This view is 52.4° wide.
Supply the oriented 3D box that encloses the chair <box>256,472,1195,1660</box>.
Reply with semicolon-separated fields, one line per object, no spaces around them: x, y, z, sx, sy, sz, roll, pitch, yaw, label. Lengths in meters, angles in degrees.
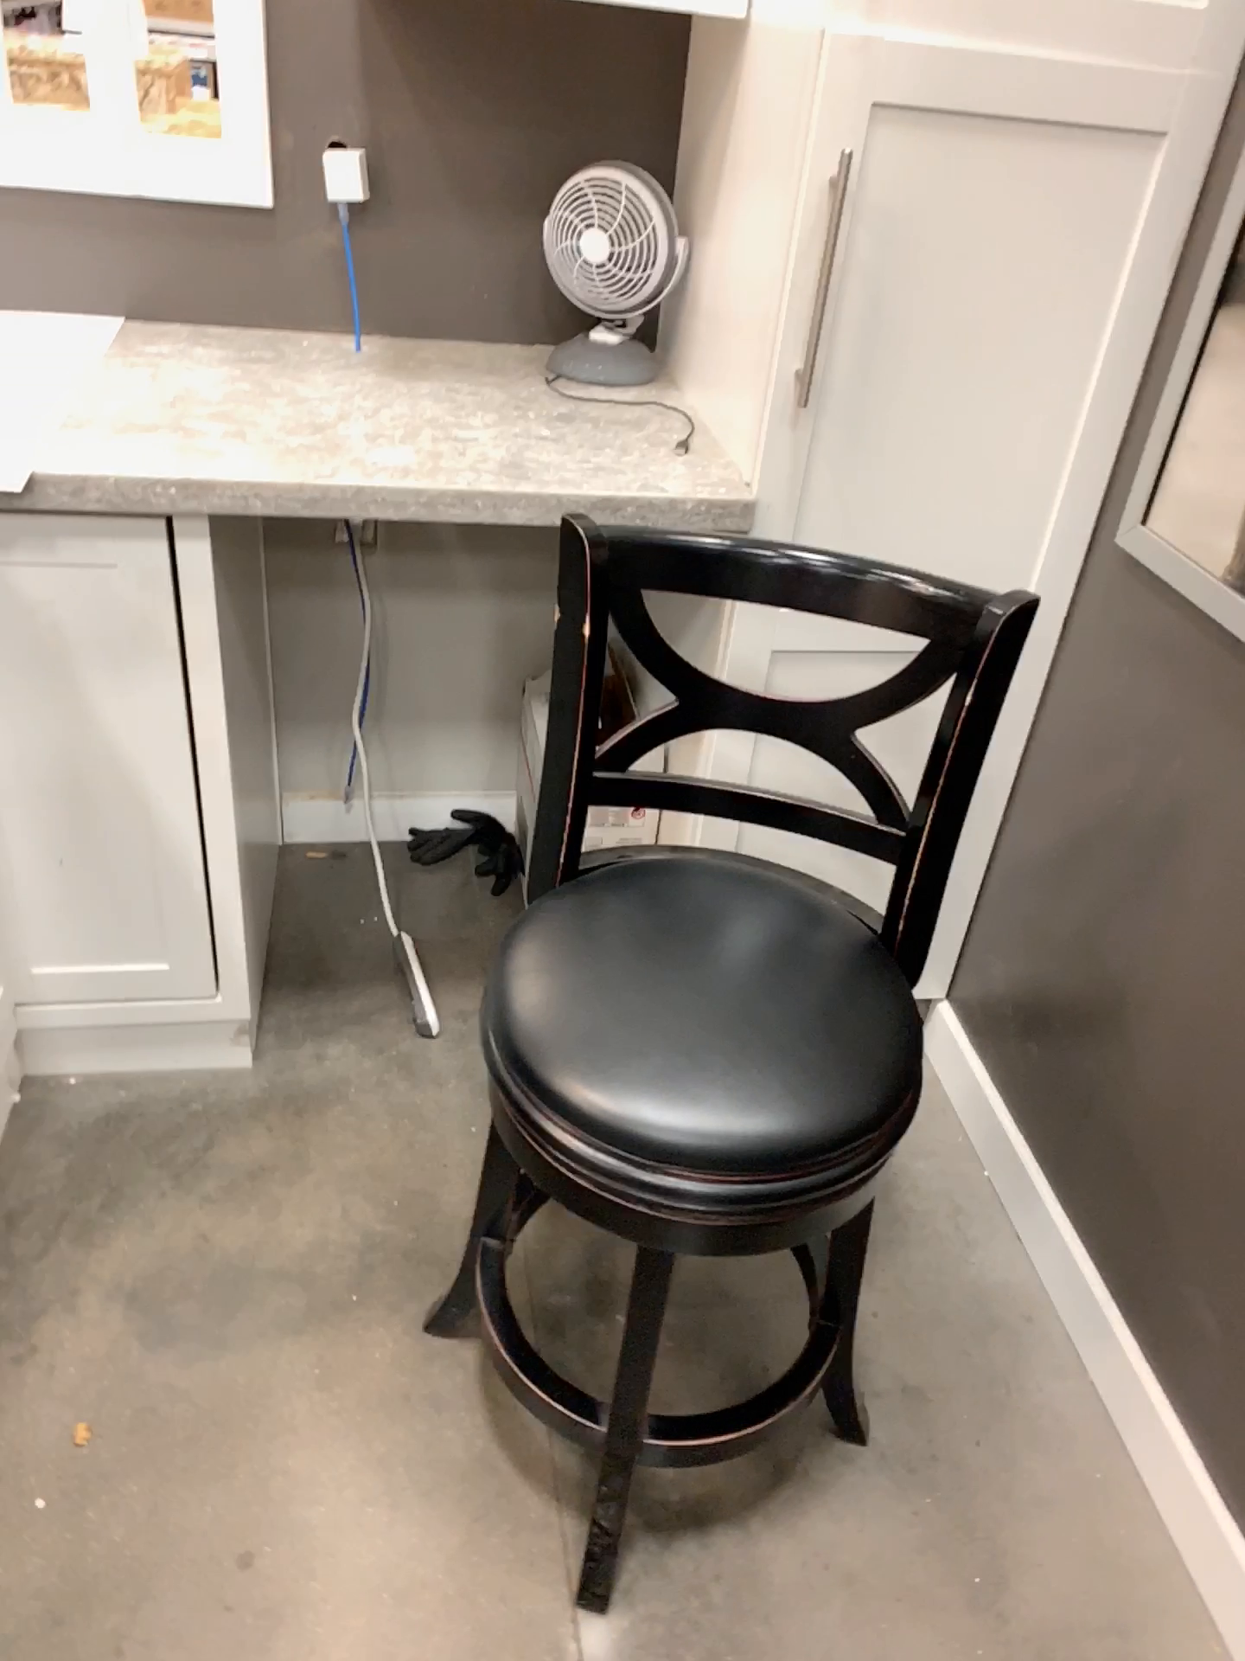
0.061;0.230;1.241;0.557;0.912;0.607;11;33;6;chair
